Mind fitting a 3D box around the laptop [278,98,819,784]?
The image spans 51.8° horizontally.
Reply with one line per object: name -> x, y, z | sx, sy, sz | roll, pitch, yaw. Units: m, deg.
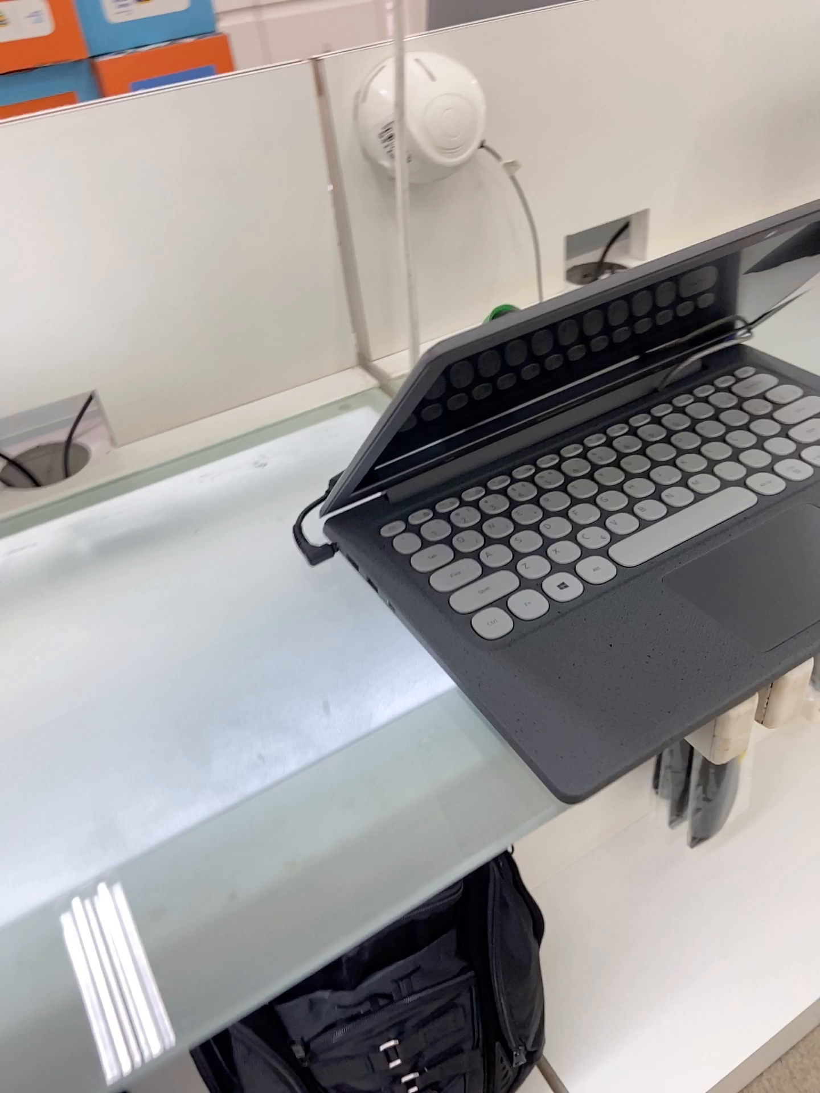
laptop -> 0.135, -0.083, 0.401 | 0.312, 0.153, 0.208 | -25, 41, -20
